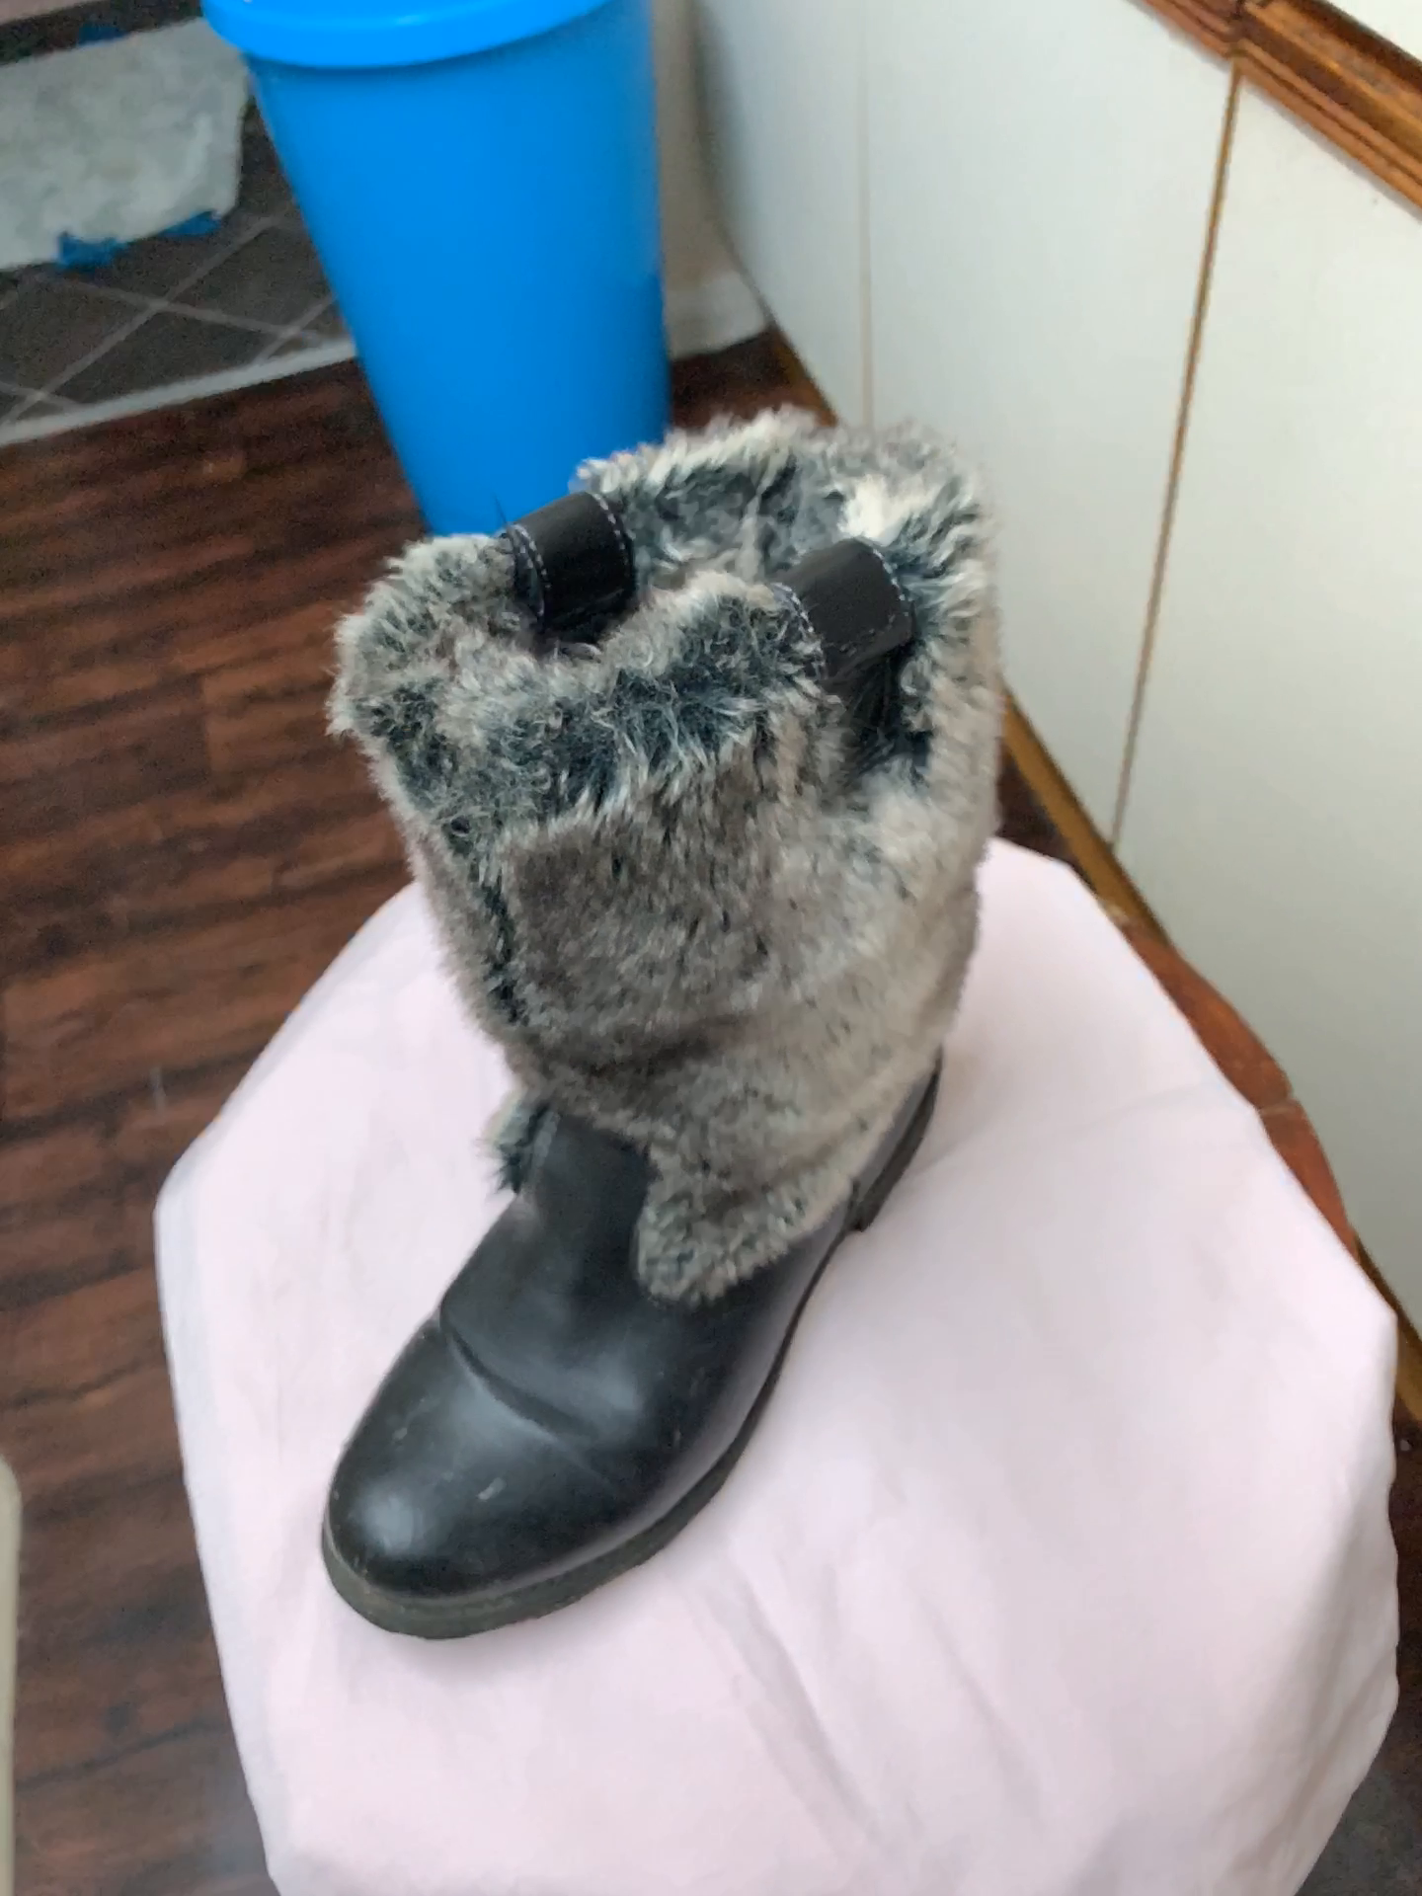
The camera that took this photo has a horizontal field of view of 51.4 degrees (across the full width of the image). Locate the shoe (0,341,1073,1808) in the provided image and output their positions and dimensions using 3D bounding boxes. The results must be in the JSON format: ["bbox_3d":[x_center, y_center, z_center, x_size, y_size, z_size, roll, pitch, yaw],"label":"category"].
[{"bbox_3d":[-0.039,0.036,0.379,0.120,0.238,0.271,29,60,26],"label":"shoe"}]
